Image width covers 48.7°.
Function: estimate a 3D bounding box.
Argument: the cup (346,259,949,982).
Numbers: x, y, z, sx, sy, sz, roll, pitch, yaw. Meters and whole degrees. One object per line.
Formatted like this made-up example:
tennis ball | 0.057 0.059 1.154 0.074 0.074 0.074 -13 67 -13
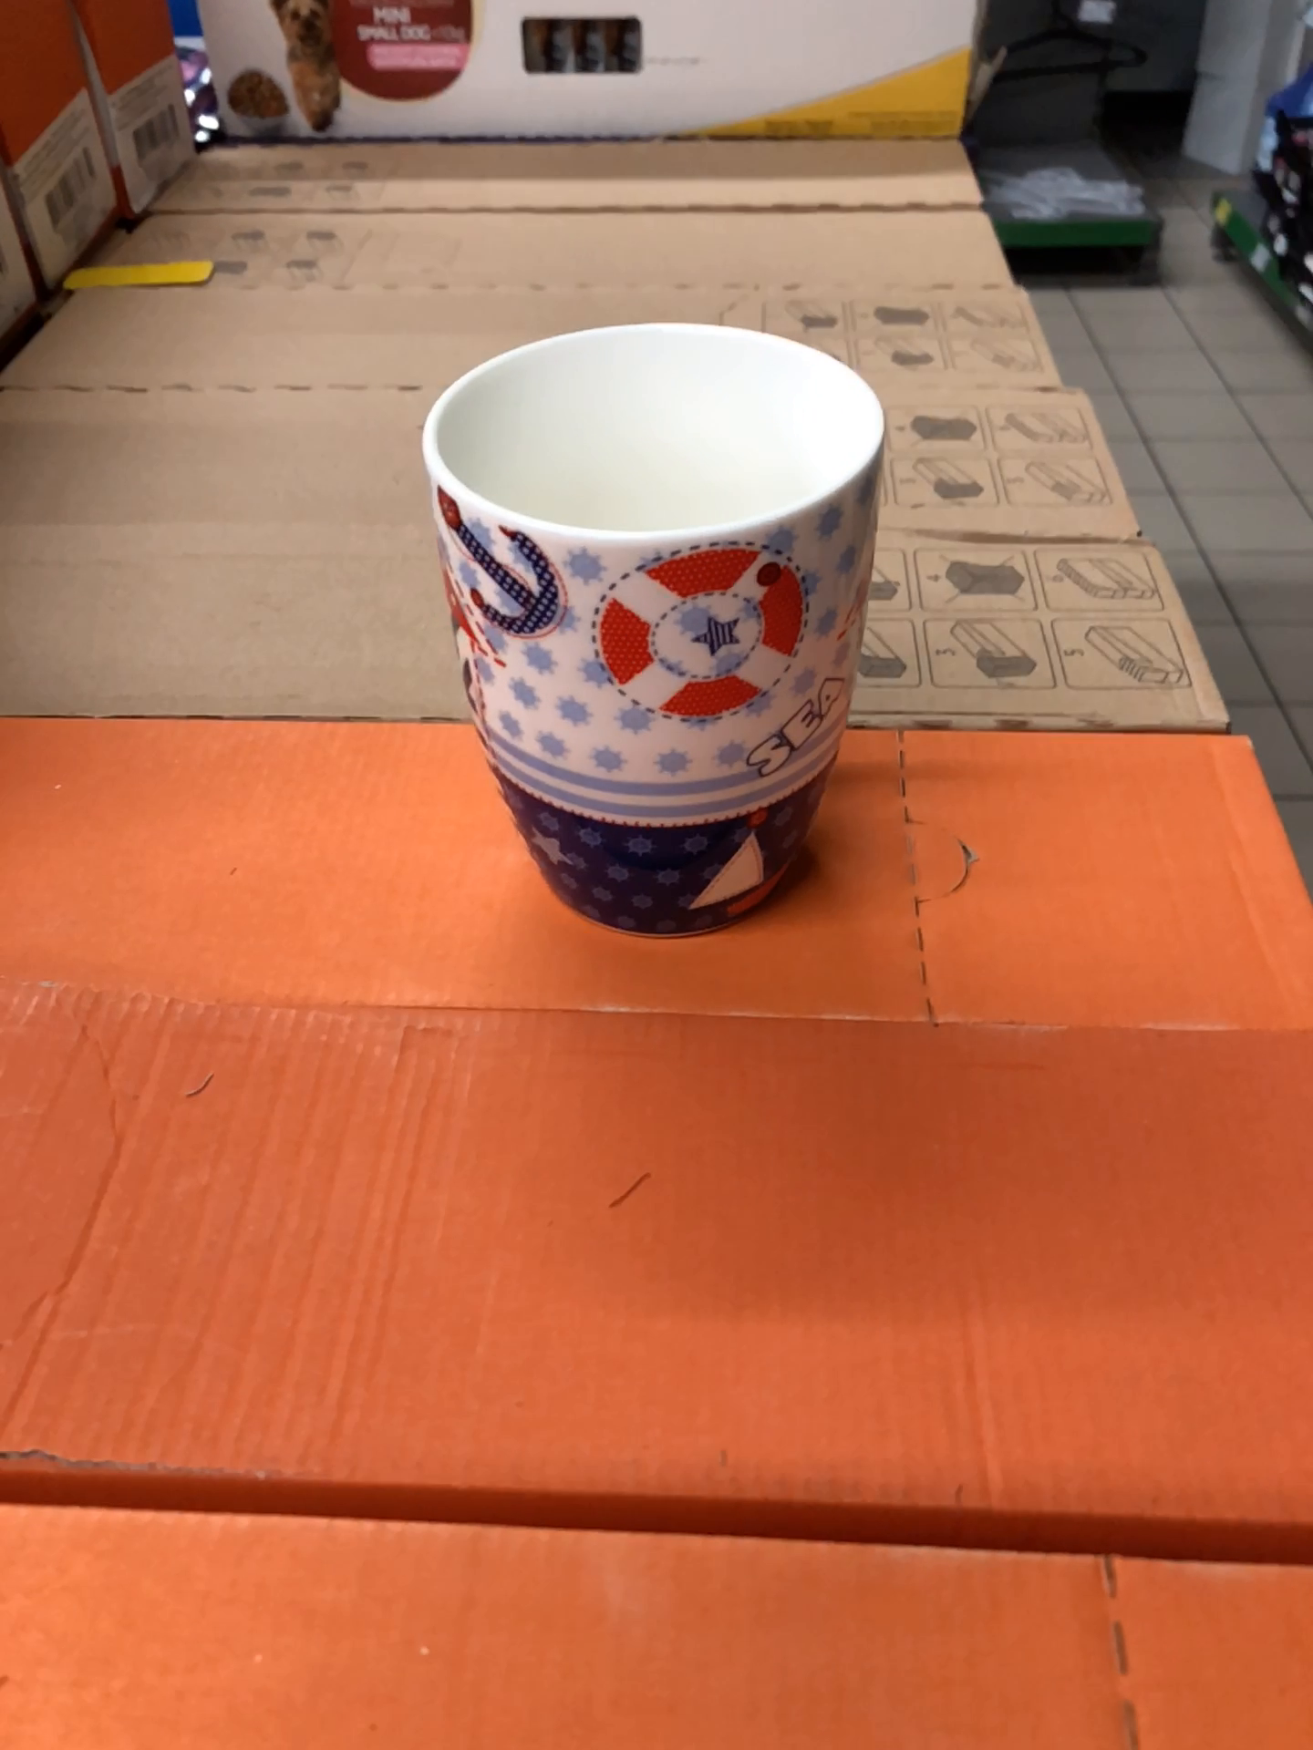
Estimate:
cup | 0.006 -0.057 0.295 0.086 0.092 0.113 8 41 11
